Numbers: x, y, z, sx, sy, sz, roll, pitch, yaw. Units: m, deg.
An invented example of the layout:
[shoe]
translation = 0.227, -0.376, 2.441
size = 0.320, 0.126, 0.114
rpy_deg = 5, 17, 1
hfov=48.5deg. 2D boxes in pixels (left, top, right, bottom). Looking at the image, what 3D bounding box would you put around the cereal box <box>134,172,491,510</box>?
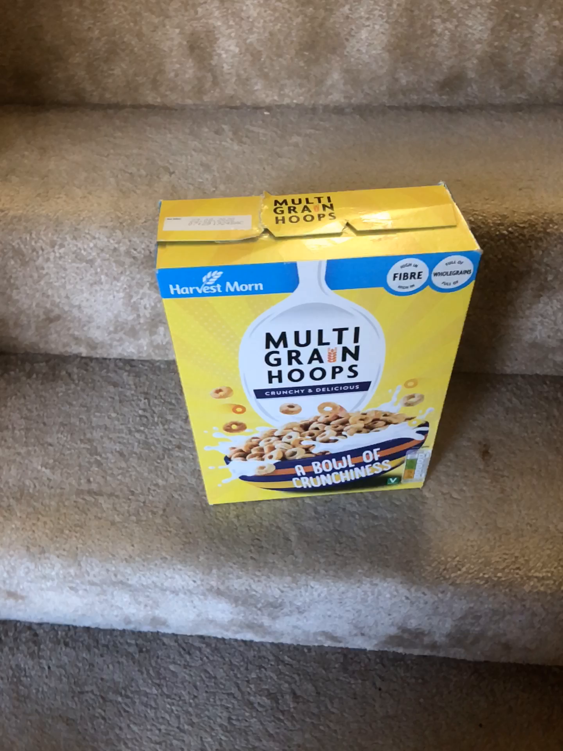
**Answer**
[cereal box]
translation = 0.020, -0.010, 0.472
size = 0.200, 0.248, 0.091
rpy_deg = -4, 48, -1
